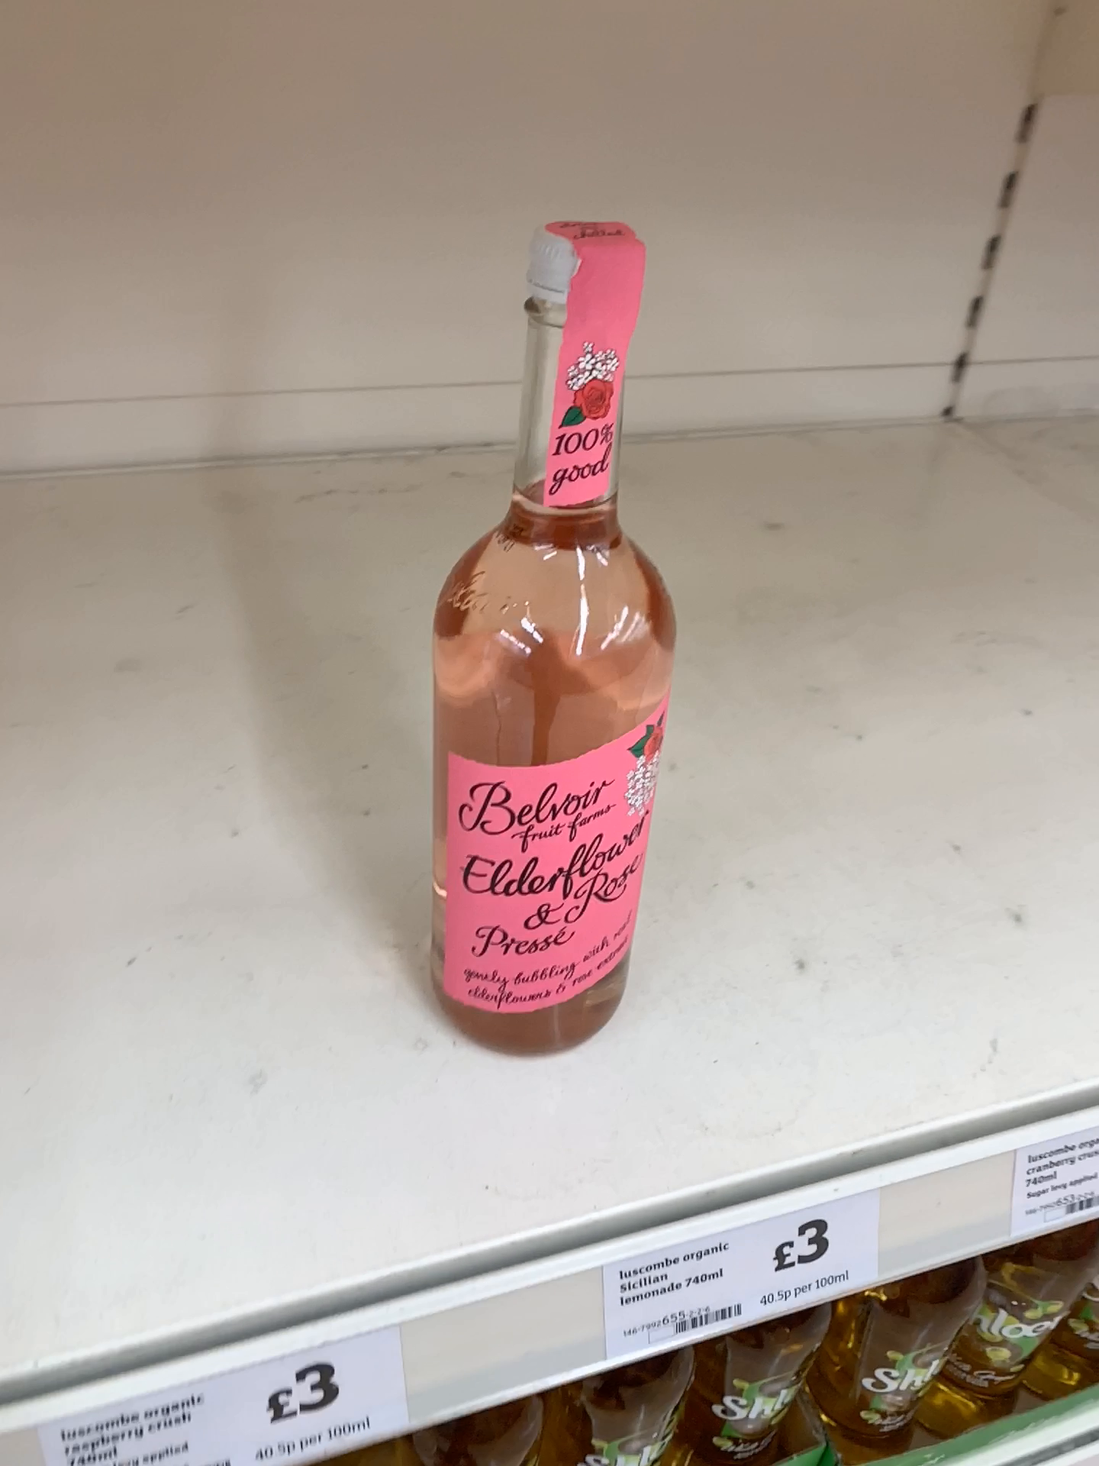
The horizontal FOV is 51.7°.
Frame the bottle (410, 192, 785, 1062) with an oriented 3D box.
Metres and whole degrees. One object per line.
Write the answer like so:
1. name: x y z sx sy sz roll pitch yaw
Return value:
1. bottle: 0.000 -0.018 0.373 0.086 0.274 0.087 3 35 -2
